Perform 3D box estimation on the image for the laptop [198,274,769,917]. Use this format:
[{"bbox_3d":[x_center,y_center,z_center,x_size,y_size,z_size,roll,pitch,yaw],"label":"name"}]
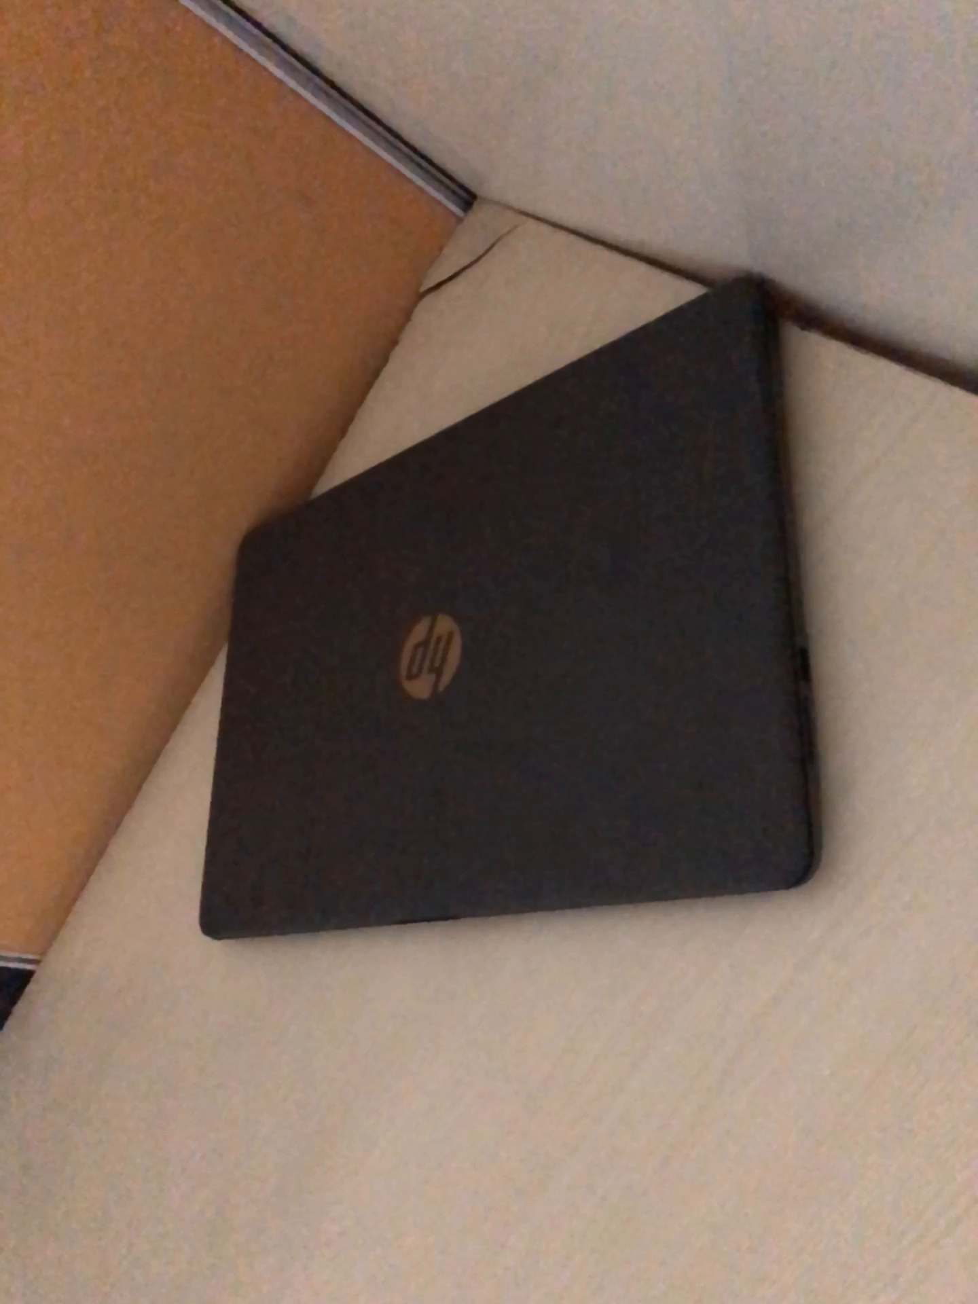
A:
[{"bbox_3d":[-0.028,-0.003,0.520,0.357,0.004,0.236,-17,61,42],"label":"laptop"}]
